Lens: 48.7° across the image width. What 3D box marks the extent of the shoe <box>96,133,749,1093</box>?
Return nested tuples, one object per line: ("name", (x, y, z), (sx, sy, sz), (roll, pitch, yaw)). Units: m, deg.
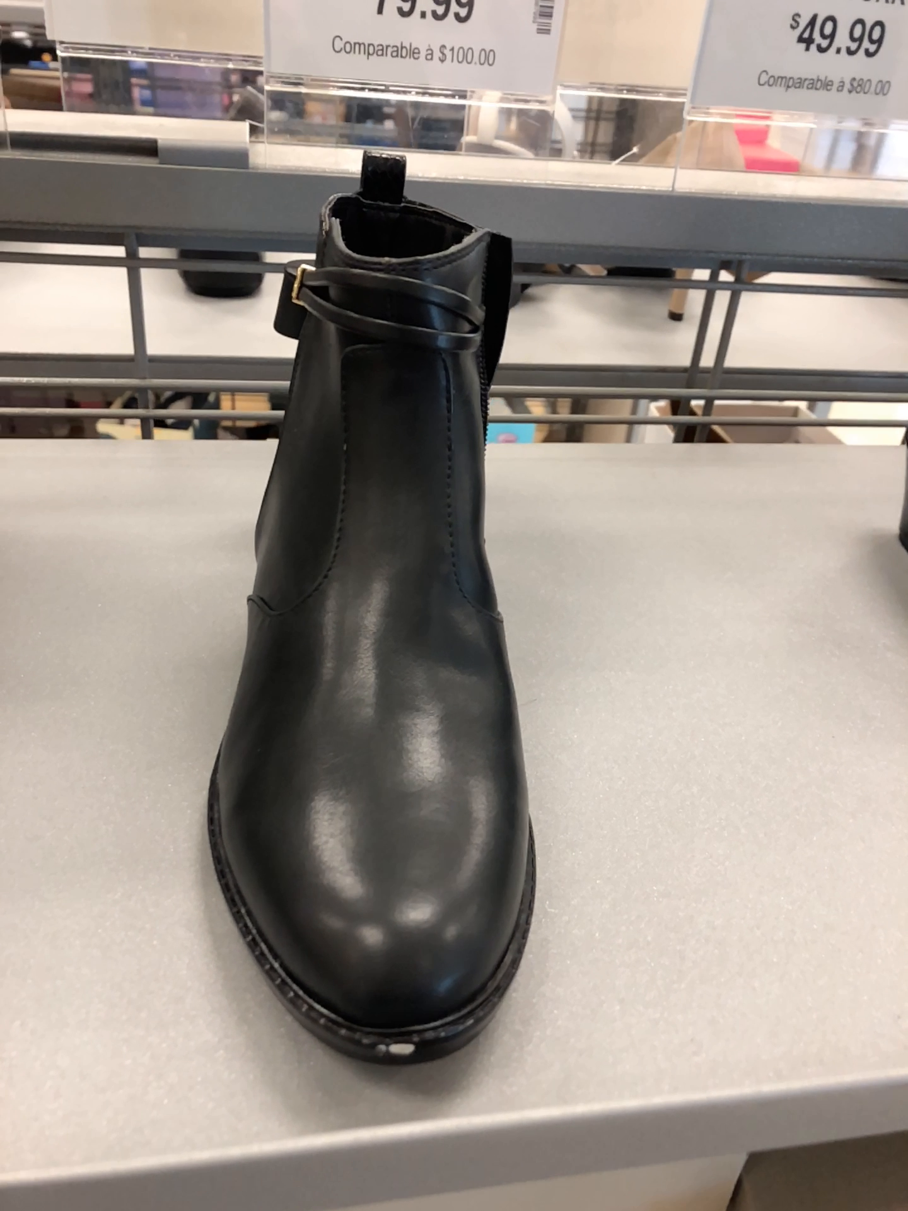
("shoe", (-0.022, -0.023, 0.273), (0.090, 0.149, 0.232), (1, 34, -8))
